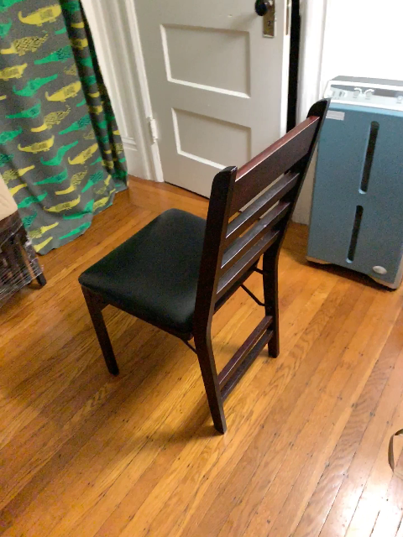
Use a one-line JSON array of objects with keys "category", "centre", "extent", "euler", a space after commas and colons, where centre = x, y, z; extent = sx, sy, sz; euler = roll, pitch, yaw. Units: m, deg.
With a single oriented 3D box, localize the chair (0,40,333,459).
[{"category": "chair", "centre": [-0.064, -0.050, 1.096], "extent": [0.552, 0.865, 0.491], "euler": [21, 47, 29]}]
